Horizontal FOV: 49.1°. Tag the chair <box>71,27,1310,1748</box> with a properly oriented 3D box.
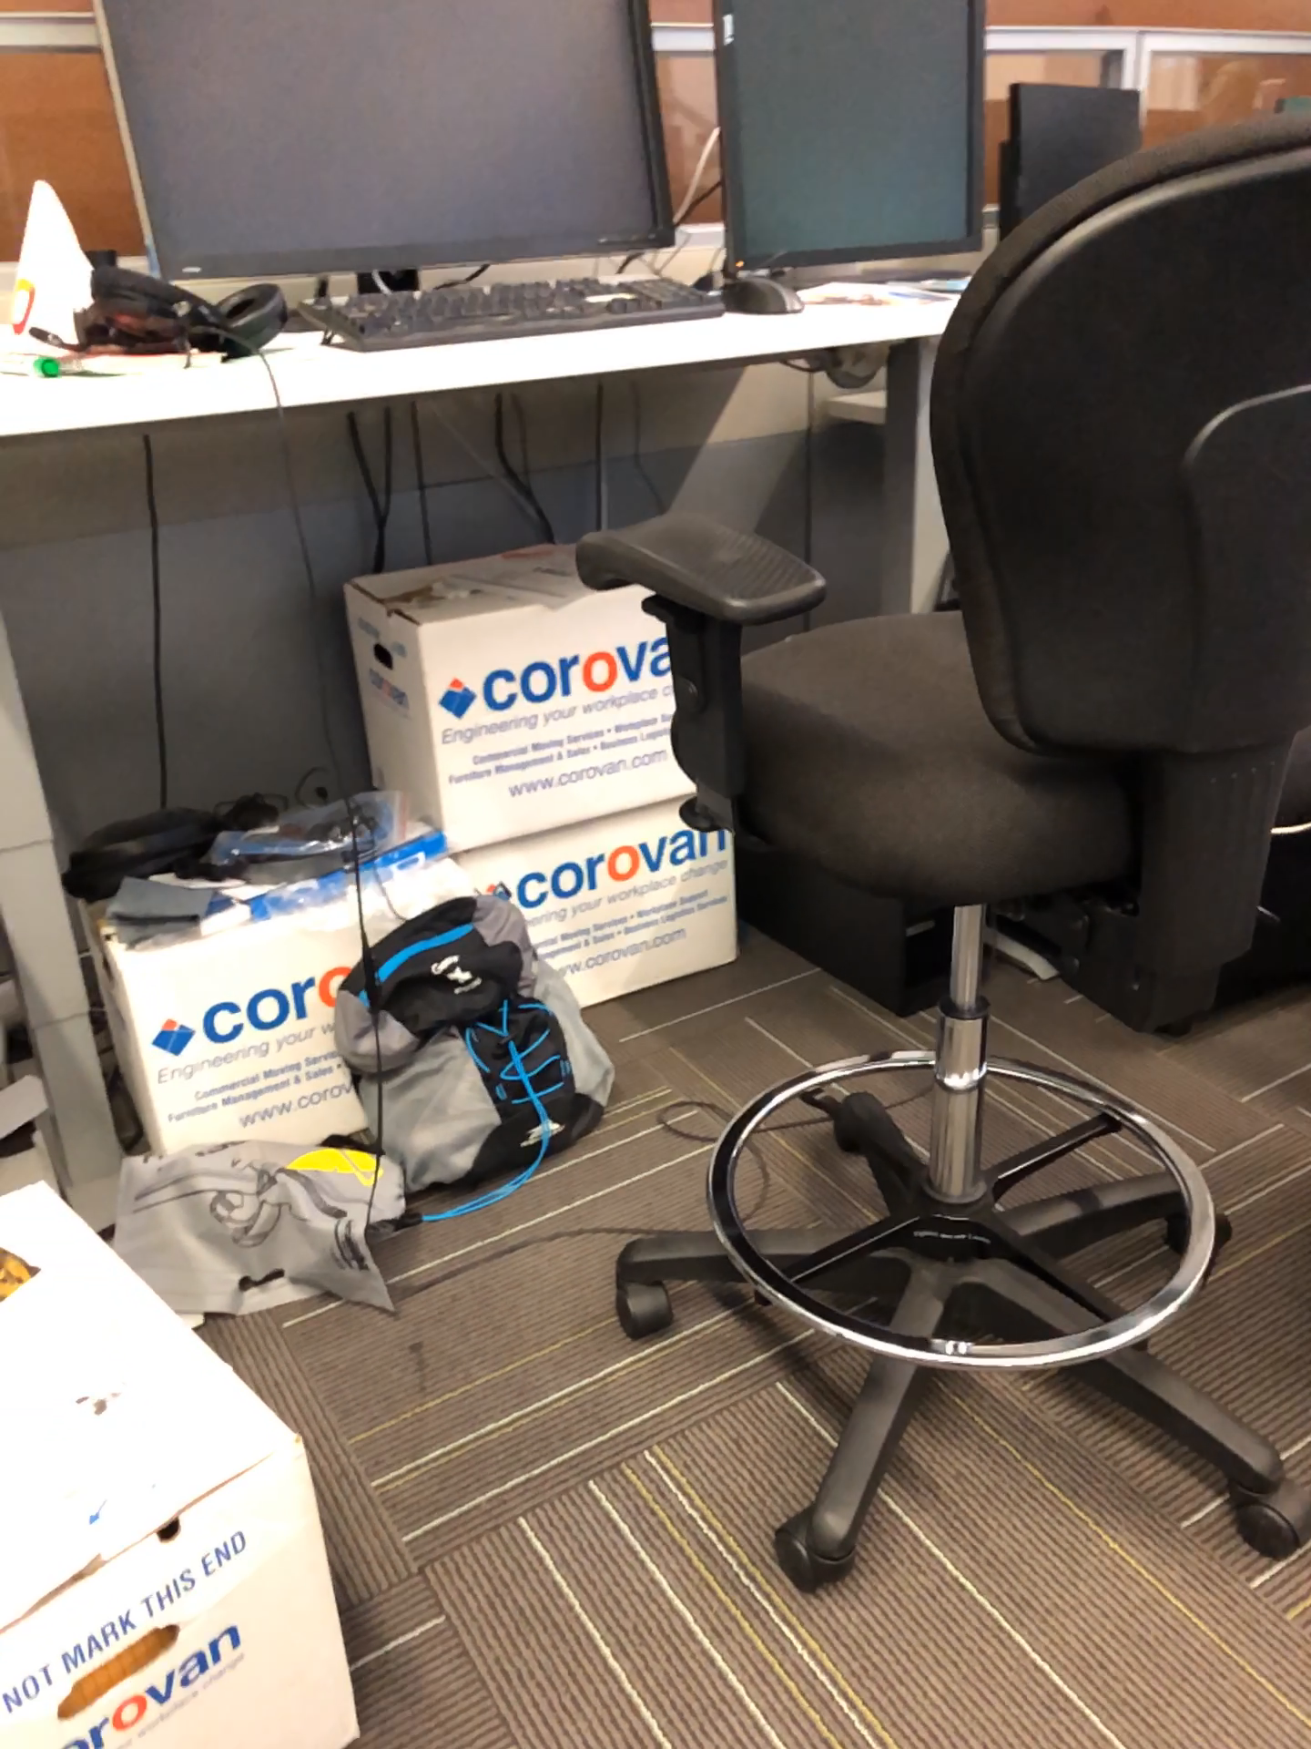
[{"bbox_3d":[0.181,-0.038,1.253,0.892,1.104,0.963,-18,29,-29],"label":"chair"}]
